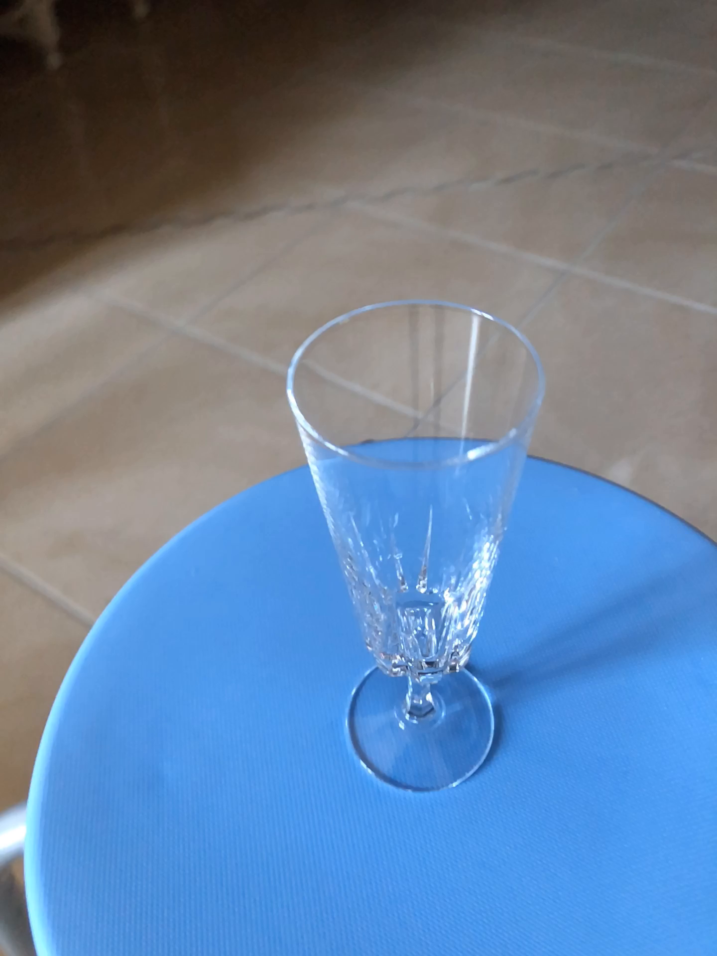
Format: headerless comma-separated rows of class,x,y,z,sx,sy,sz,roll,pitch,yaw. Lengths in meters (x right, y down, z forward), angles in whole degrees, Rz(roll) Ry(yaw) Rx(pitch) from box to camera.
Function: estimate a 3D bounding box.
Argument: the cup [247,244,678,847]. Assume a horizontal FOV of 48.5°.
cup,0.031,0.032,0.259,0.070,0.179,0.080,34,57,31
